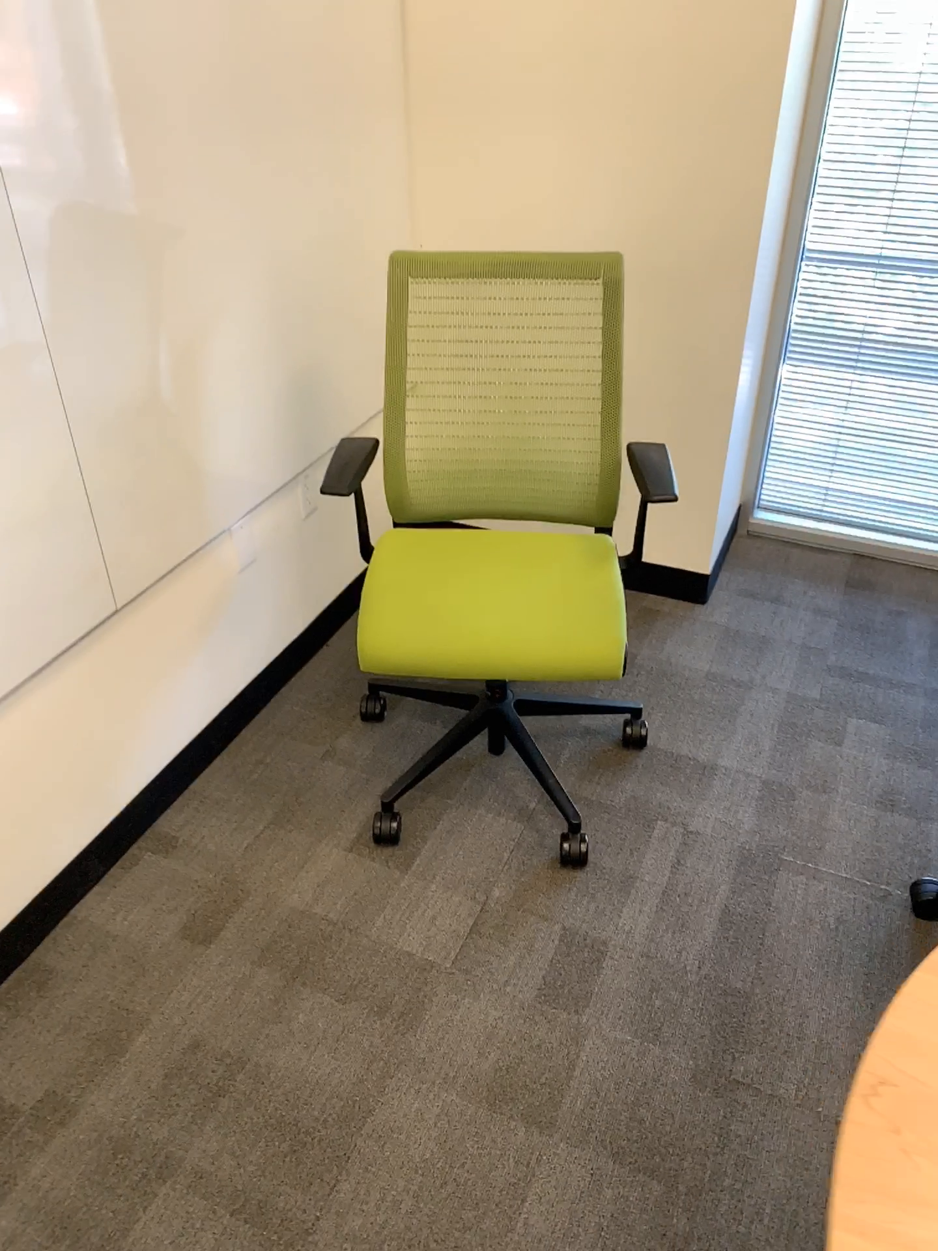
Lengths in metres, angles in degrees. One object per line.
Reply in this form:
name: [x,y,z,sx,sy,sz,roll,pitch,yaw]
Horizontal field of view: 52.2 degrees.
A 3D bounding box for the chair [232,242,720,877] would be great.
chair: [0.049,-0.166,1.995,0.700,0.994,0.845,3,35,5]
